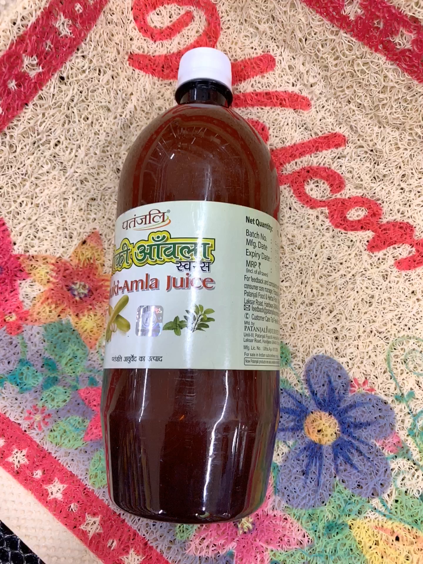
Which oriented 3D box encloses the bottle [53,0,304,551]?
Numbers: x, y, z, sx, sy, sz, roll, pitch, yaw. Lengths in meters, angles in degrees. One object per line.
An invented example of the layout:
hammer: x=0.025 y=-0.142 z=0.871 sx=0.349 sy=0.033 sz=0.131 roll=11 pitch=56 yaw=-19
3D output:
bottle: x=-0.013 y=-0.025 z=0.222 sx=0.080 sy=0.080 sz=0.250 roll=11 pitch=75 yaw=-39
